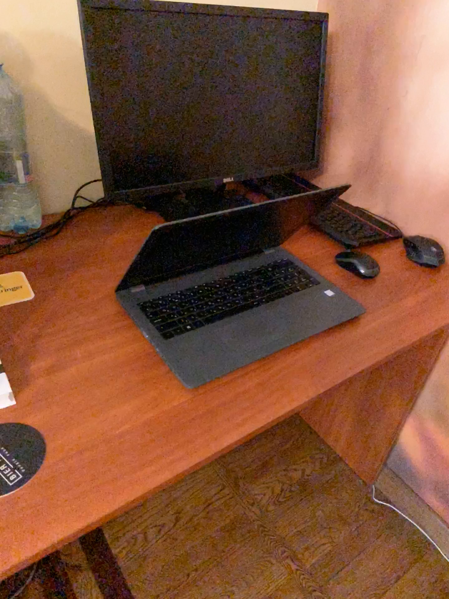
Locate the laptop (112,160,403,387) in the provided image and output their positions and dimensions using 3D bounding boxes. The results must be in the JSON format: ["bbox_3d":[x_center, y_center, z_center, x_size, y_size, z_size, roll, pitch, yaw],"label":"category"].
[{"bbox_3d":[0.047,-0.073,0.762,0.386,0.193,0.245,-18,43,-30],"label":"laptop"}]
